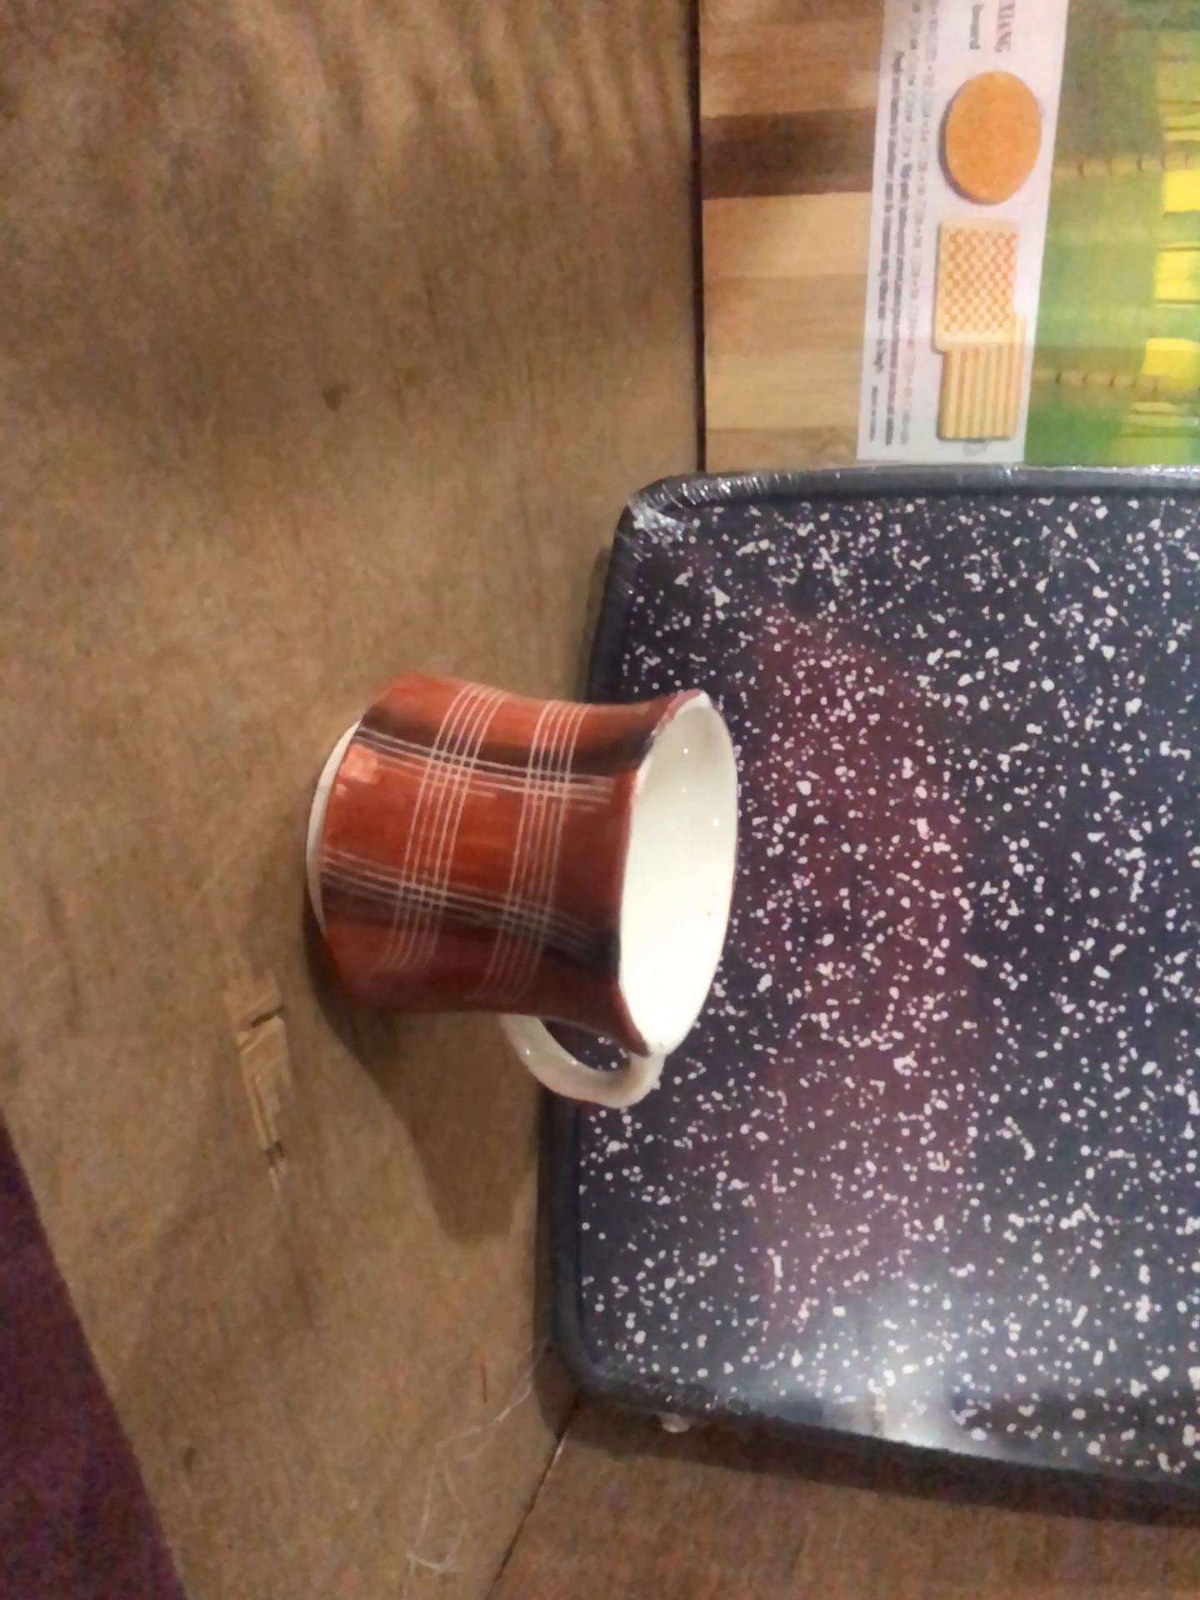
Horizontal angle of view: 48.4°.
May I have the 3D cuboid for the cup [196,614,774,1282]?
[{"bbox_3d":[-0.012,0.023,0.228,0.060,0.060,0.090,-59,146,-47],"label":"cup"}]
